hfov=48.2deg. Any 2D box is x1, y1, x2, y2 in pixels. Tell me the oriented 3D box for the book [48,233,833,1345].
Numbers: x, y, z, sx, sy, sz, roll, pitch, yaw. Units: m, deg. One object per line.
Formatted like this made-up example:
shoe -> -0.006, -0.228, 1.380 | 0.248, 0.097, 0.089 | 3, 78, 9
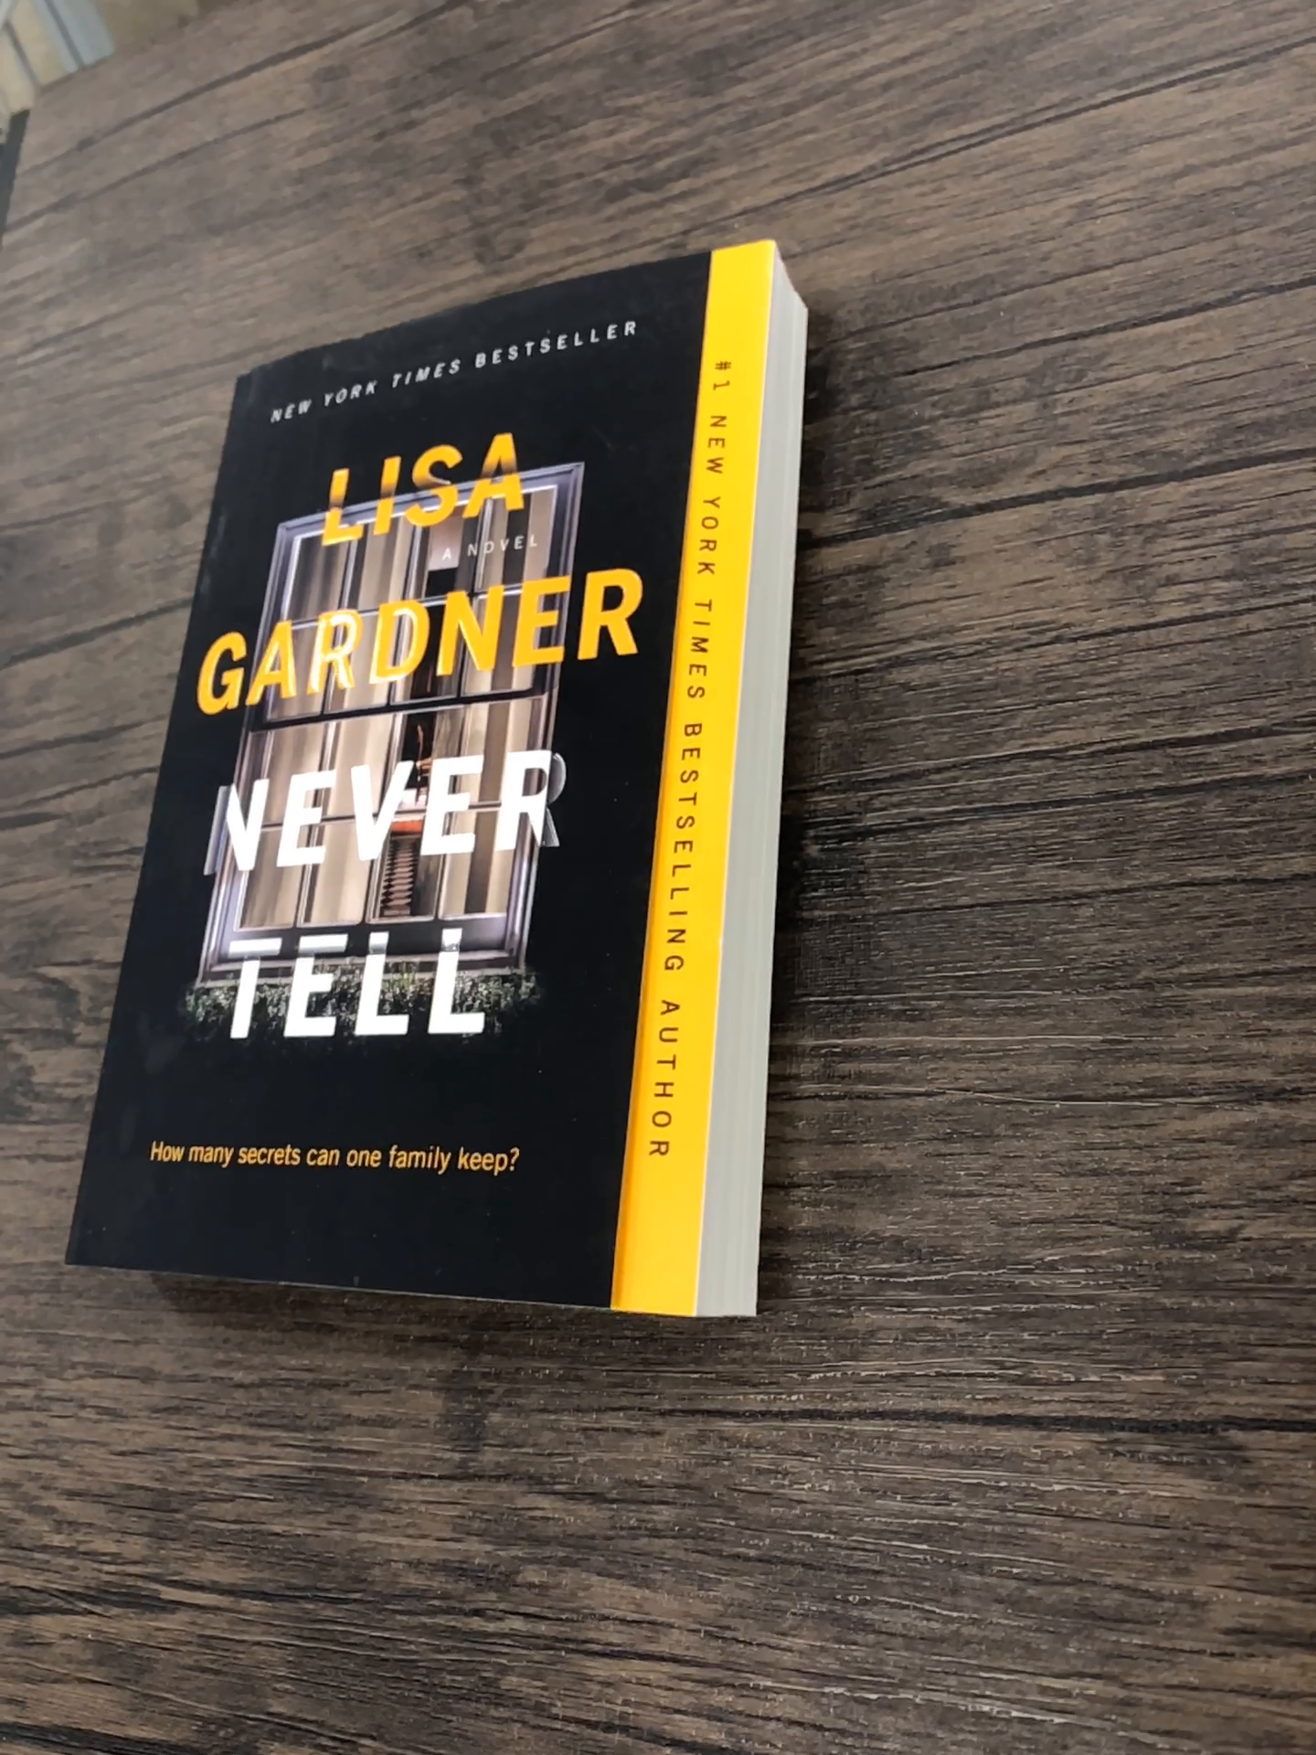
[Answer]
book -> -0.040, -0.020, 0.300 | 0.137, 0.032, 0.207 | -3, 71, 25
